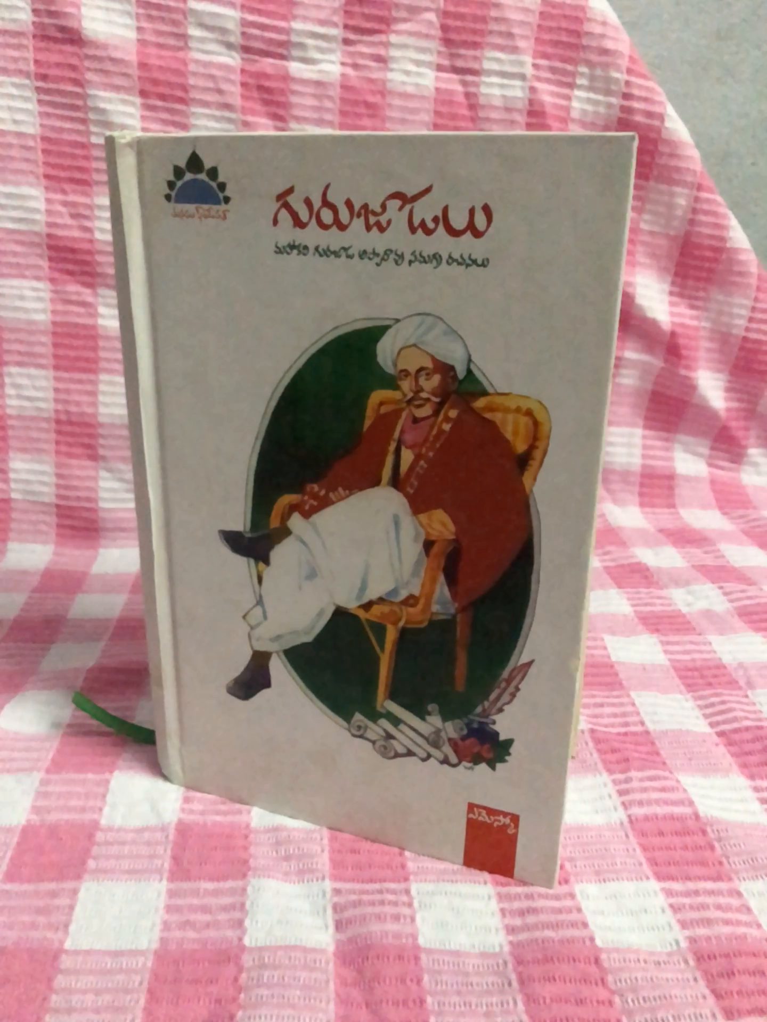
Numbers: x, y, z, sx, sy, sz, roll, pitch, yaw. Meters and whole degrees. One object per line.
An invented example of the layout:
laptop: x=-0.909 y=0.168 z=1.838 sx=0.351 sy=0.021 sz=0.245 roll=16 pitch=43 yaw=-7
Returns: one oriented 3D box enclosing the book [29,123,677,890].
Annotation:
book: x=-0.007 y=-0.007 z=0.270 sx=0.160 sy=0.209 sz=0.070 roll=9 pitch=24 yaw=18
